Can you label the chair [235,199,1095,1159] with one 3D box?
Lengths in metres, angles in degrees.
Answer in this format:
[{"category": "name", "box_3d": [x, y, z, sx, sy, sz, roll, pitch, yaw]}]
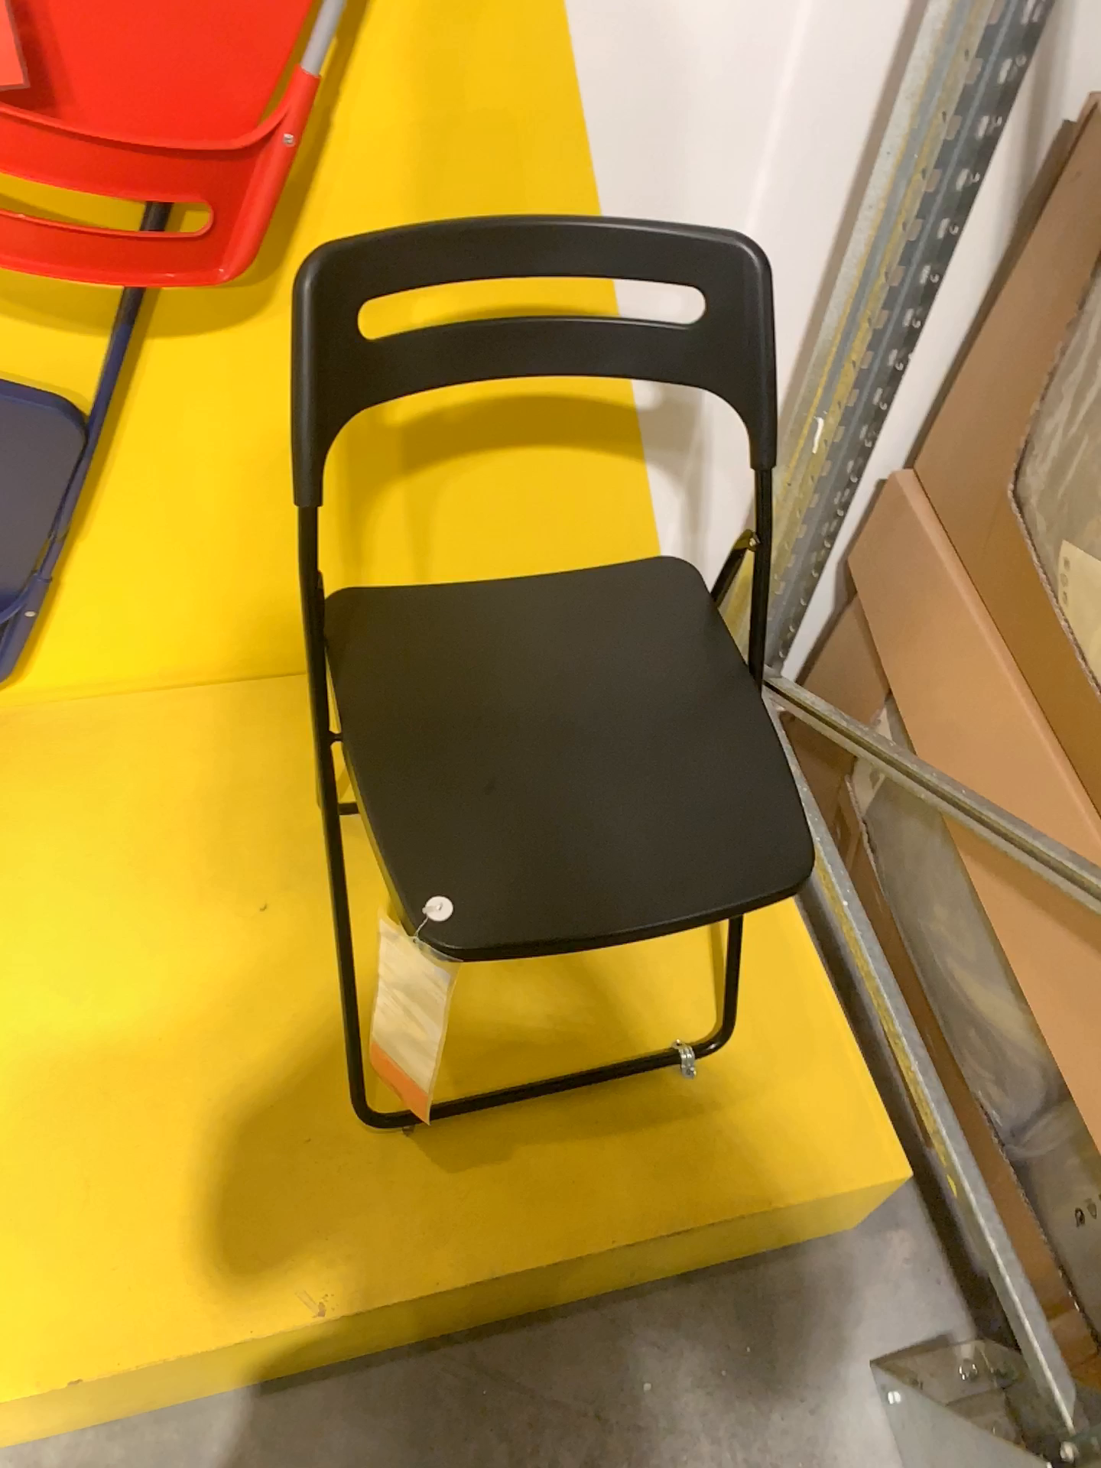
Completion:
[{"category": "chair", "box_3d": [0.004, -0.013, 0.986, 0.440, 0.698, 0.441, -8, 52, -14]}]
